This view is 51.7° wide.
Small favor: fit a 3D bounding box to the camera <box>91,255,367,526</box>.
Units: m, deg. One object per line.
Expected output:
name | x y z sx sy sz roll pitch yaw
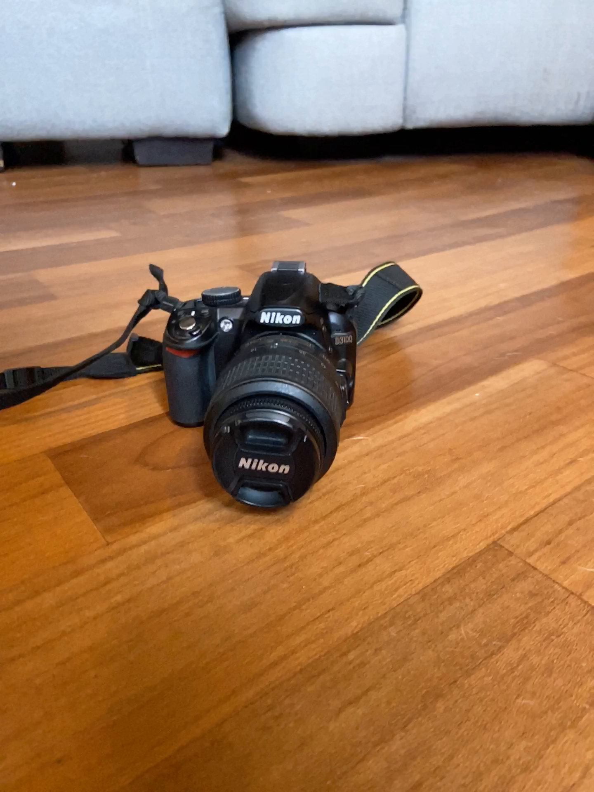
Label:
camera | -0.025 -0.015 0.357 0.120 0.090 0.163 2 28 3
